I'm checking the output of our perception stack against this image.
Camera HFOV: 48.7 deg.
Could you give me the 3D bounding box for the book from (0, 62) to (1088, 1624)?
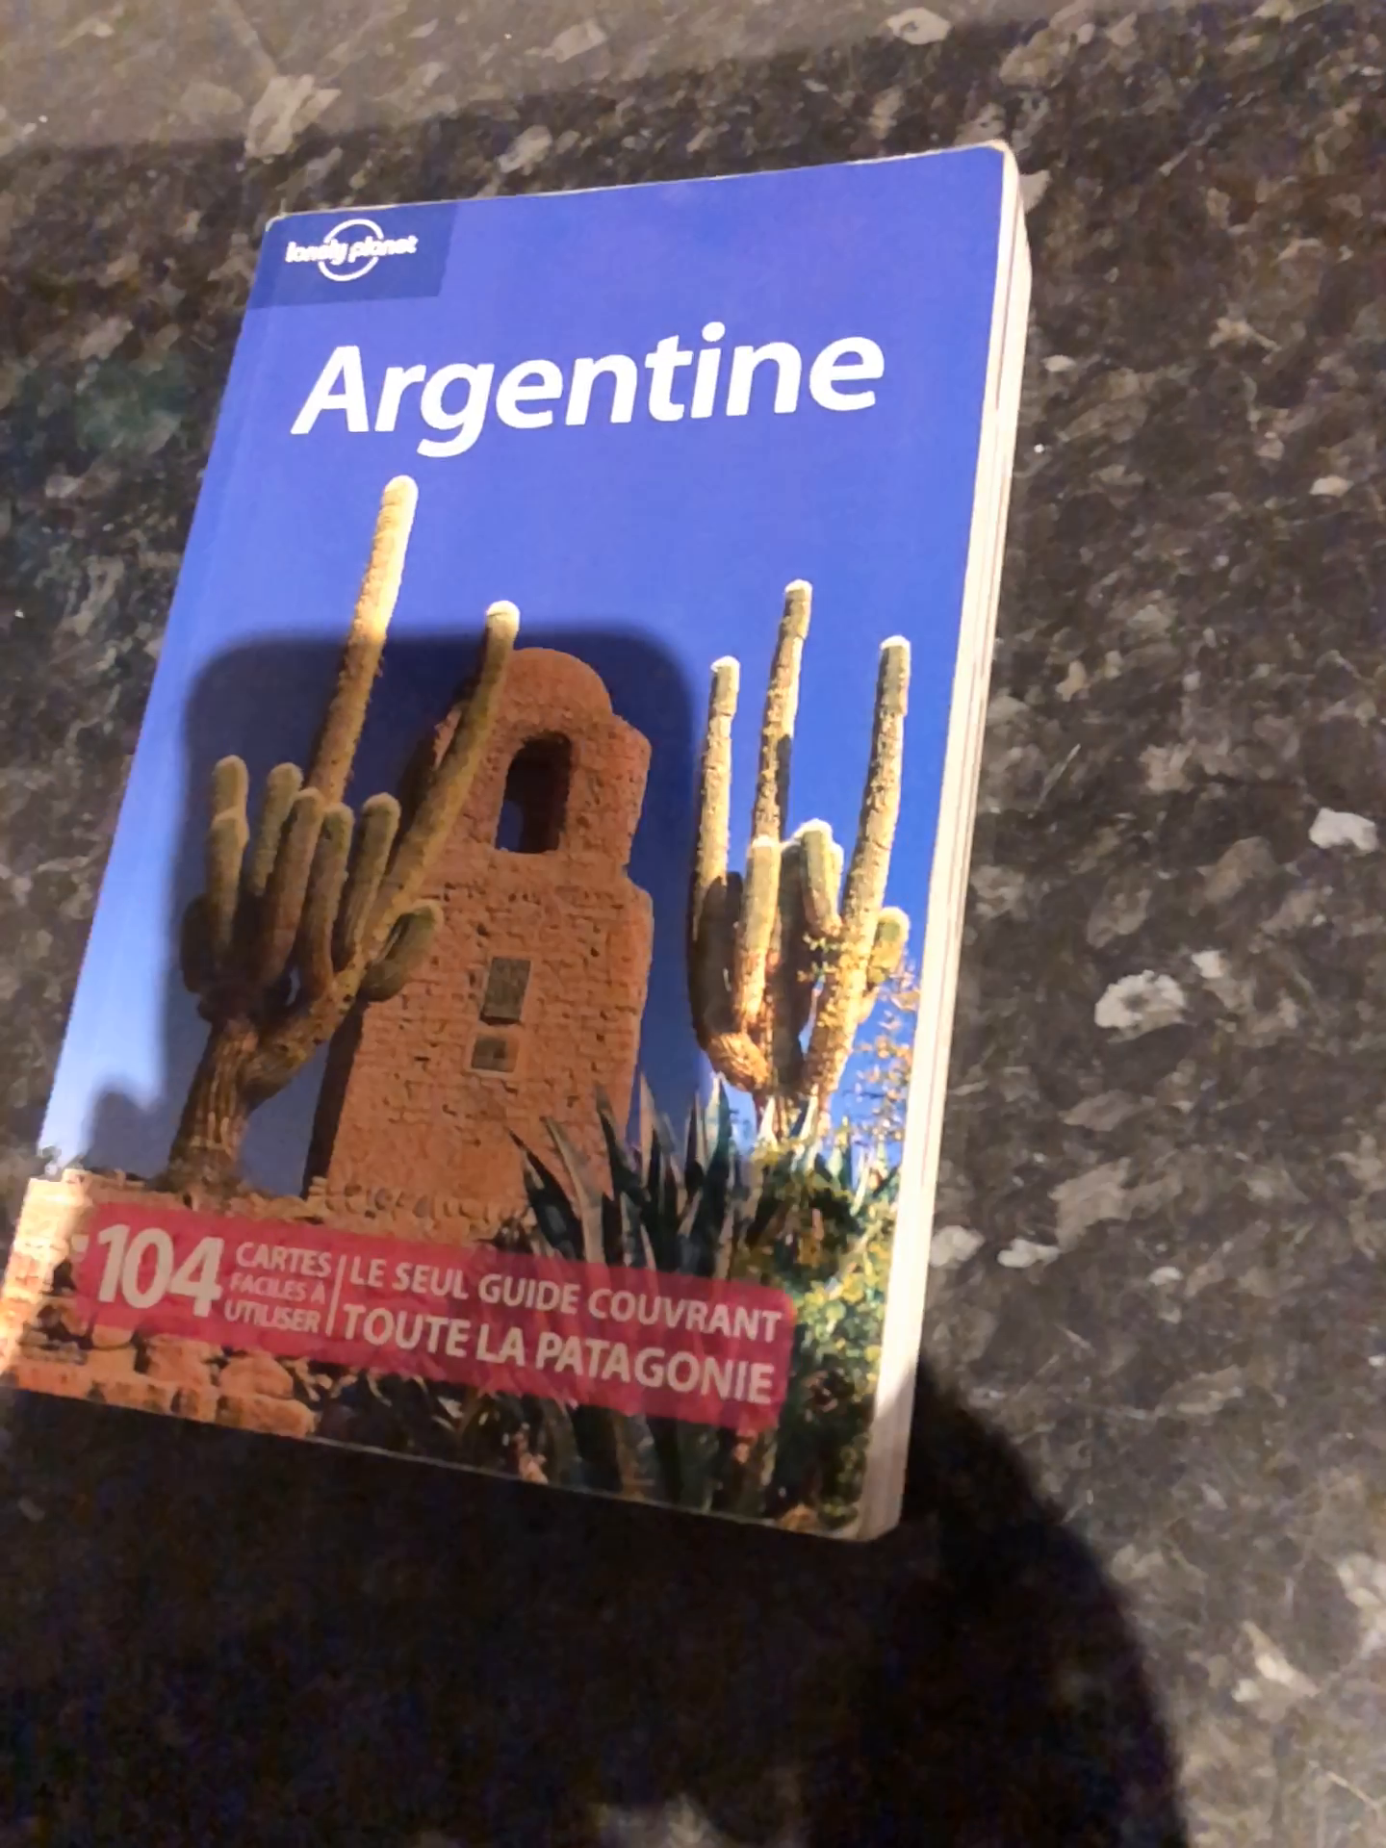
[{"bbox_3d":[-0.017,-0.024,0.227,0.130,0.030,0.210,4,74,18],"label":"book"}]
